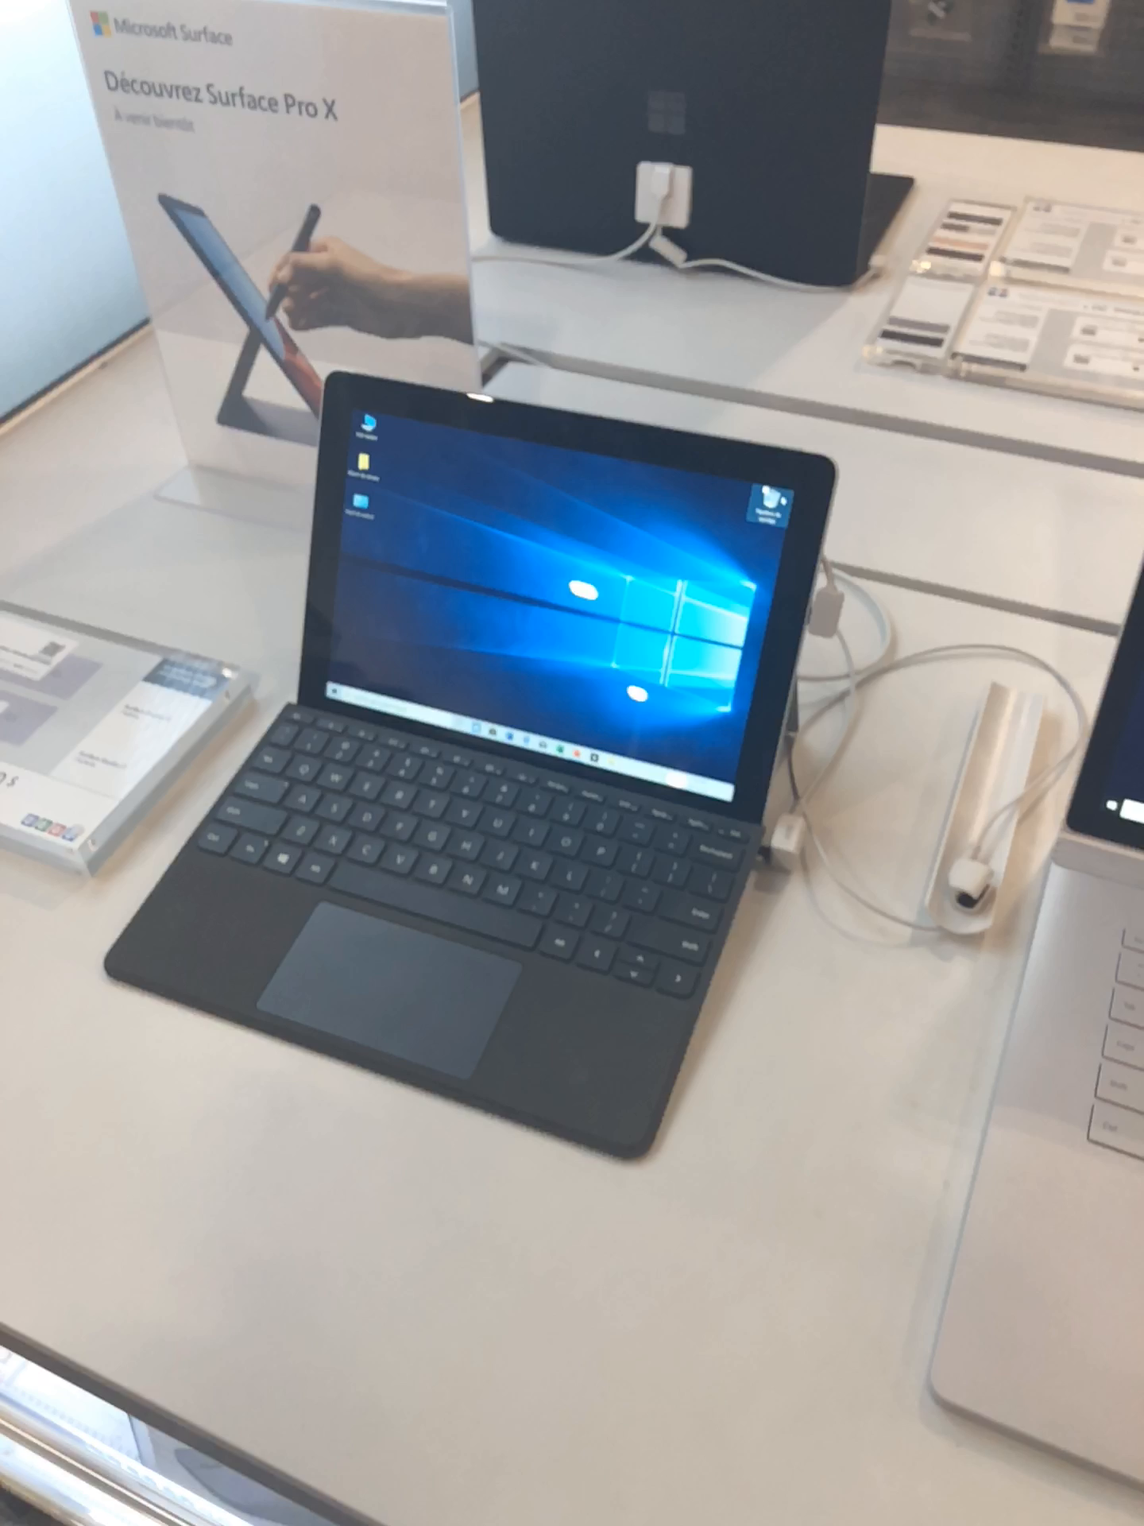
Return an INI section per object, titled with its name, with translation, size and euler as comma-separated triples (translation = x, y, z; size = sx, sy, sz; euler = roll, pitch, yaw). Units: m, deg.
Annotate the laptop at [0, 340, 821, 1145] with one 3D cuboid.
[laptop]
translation = -0.046, -0.027, 0.532
size = 0.237, 0.140, 0.251
euler = 14, 50, 15
